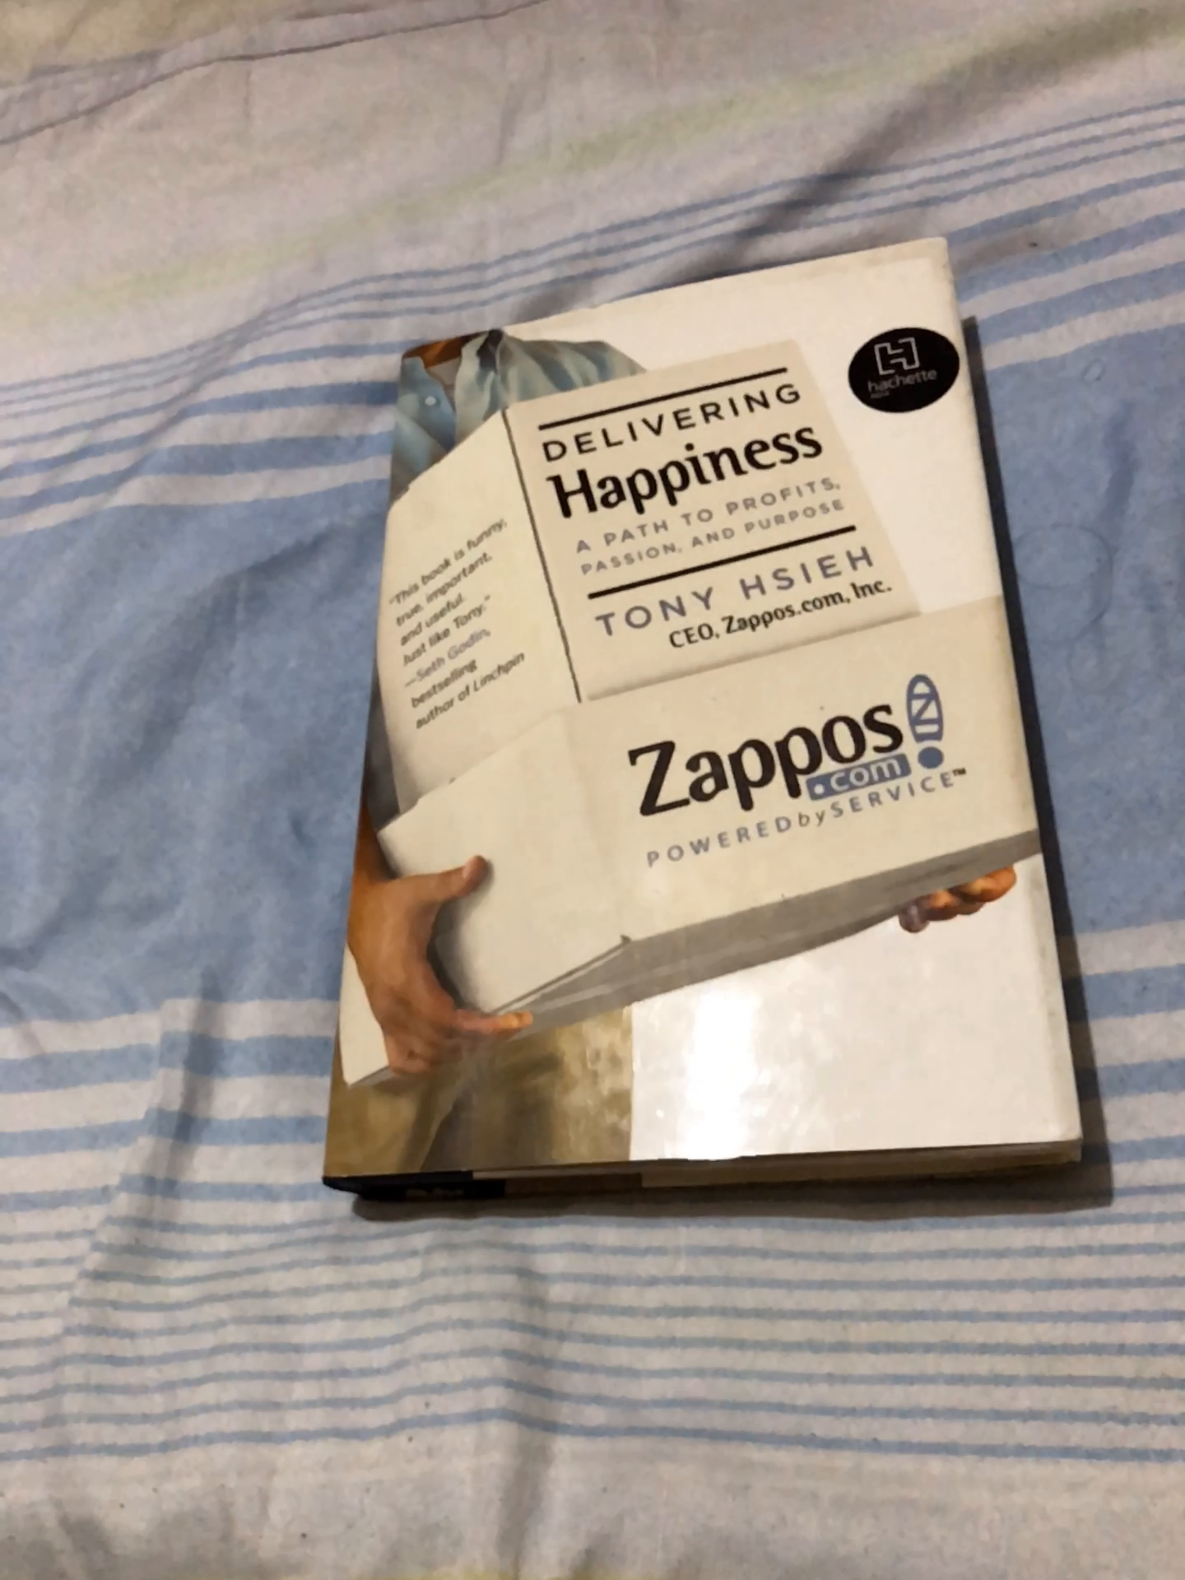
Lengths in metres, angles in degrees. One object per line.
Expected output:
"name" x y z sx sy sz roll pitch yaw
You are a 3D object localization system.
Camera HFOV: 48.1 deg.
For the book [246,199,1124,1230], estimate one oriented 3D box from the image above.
"book" 0.020 -0.023 0.327 0.170 0.050 0.240 -7 62 15
